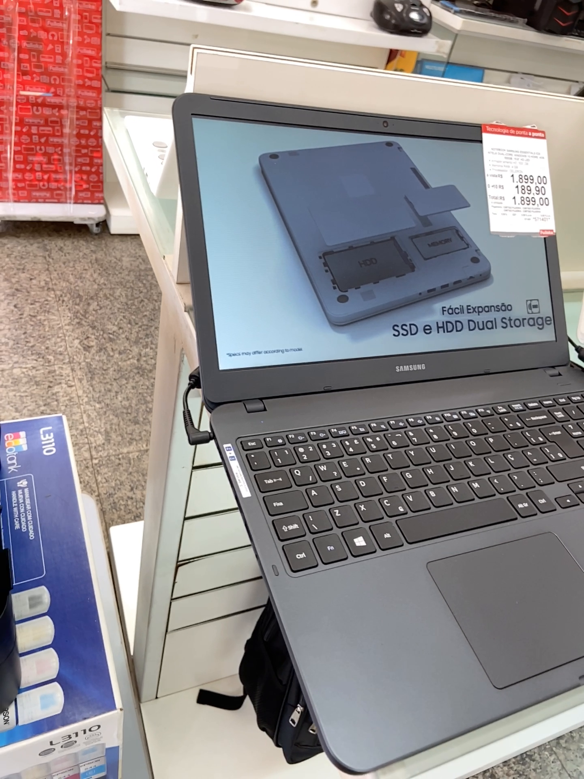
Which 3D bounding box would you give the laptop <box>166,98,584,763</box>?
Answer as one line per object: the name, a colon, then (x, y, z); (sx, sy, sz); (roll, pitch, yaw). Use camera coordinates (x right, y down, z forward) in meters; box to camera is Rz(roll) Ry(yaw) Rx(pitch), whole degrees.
laptop: (0.138, -0.041, 0.441); (0.368, 0.156, 0.413); (-6, 45, -23)
